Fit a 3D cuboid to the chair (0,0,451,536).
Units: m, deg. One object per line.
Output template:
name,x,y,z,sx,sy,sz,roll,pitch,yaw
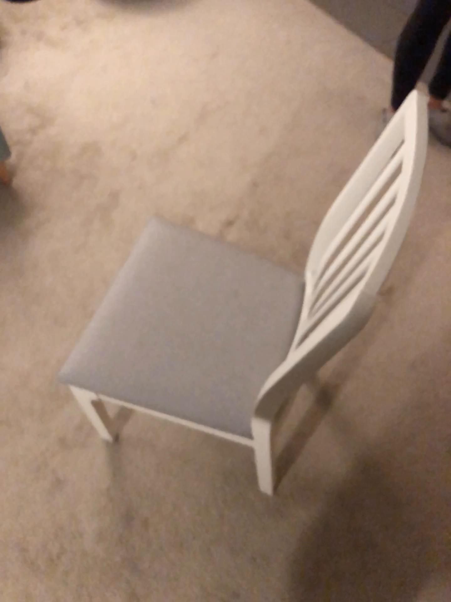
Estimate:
chair,-0.042,0.037,0.995,0.550,0.907,0.502,20,61,12
